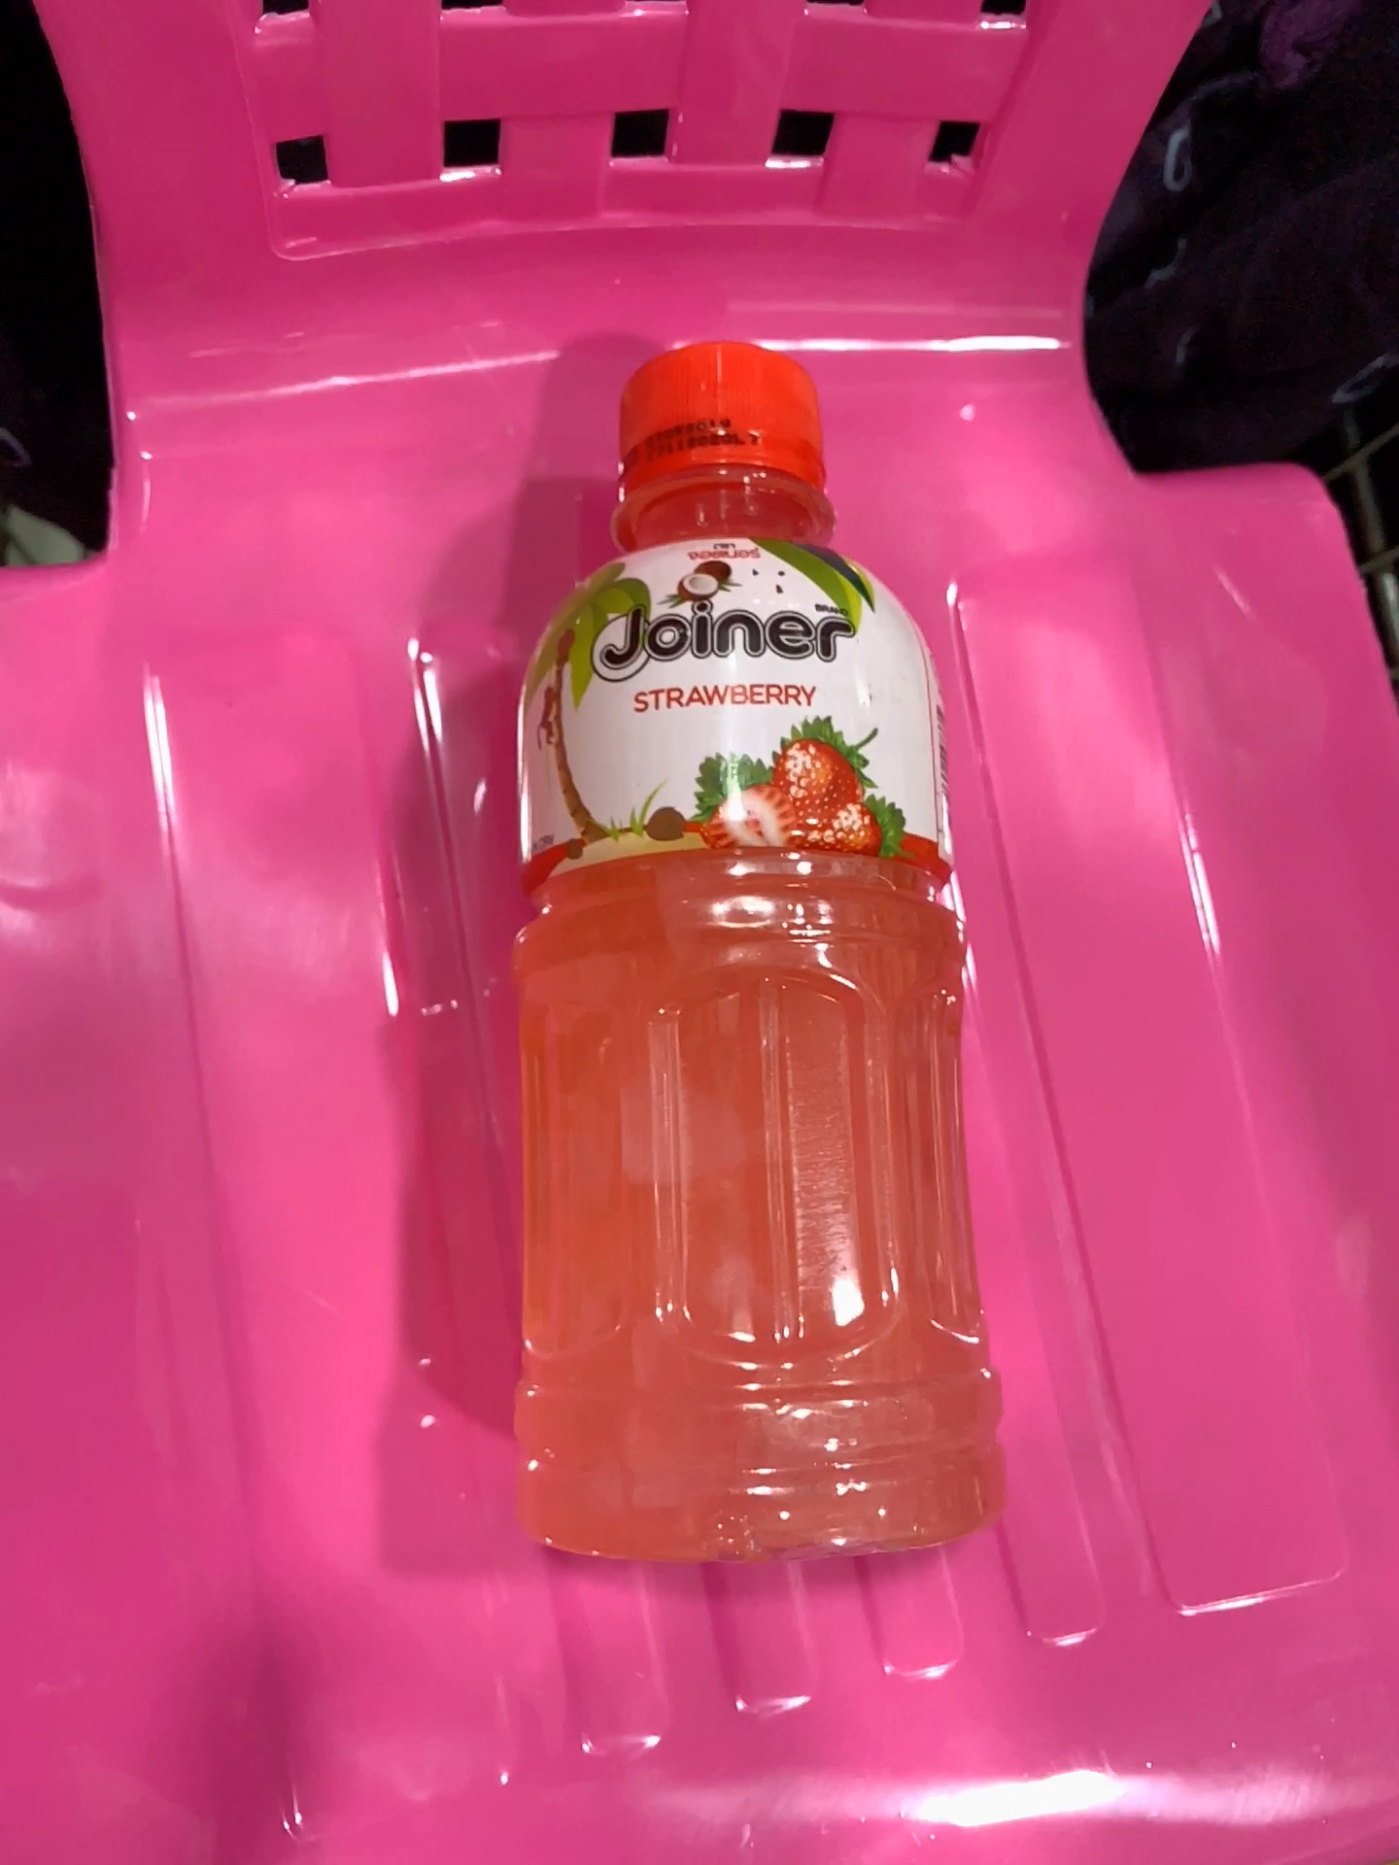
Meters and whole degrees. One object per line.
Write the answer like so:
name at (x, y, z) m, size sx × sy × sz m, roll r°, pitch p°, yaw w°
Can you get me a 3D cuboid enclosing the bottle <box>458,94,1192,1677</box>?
bottle at (0.007, -0.006, 0.187) m, size 0.070 × 0.070 × 0.160 m, roll 0°, pitch 82°, yaw -12°
